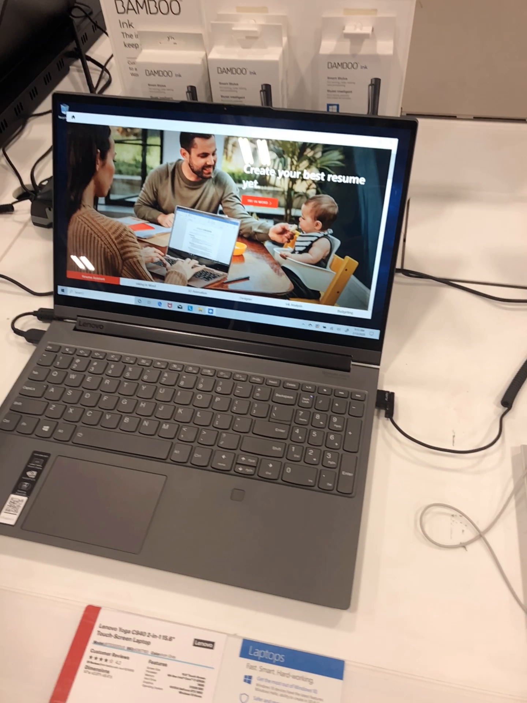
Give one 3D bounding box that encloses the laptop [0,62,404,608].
[{"bbox_3d":[-0.075,-0.041,0.501,0.336,0.169,0.375,8,58,9],"label":"laptop"}]
